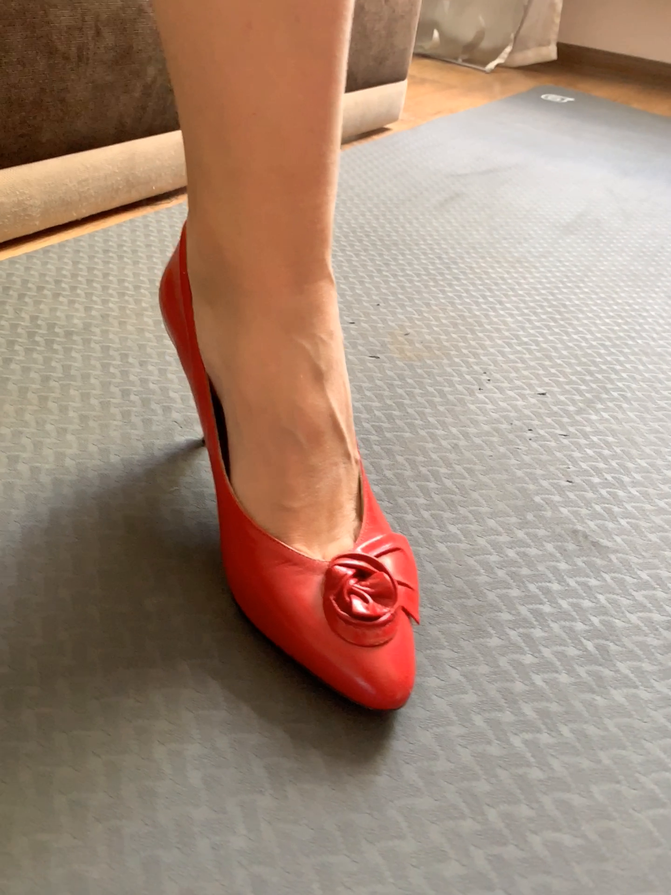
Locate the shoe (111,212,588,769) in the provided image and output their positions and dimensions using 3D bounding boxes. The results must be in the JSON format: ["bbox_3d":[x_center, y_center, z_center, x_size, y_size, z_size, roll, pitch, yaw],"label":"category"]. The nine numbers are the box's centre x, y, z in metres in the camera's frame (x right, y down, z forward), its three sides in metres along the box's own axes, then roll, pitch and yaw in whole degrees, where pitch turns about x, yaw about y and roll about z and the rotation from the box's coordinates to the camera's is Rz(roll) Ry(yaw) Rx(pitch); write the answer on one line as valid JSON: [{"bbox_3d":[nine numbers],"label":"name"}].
[{"bbox_3d":[-0.018,-0.004,0.287,0.080,0.109,0.211,-15,43,-27],"label":"shoe"}]
